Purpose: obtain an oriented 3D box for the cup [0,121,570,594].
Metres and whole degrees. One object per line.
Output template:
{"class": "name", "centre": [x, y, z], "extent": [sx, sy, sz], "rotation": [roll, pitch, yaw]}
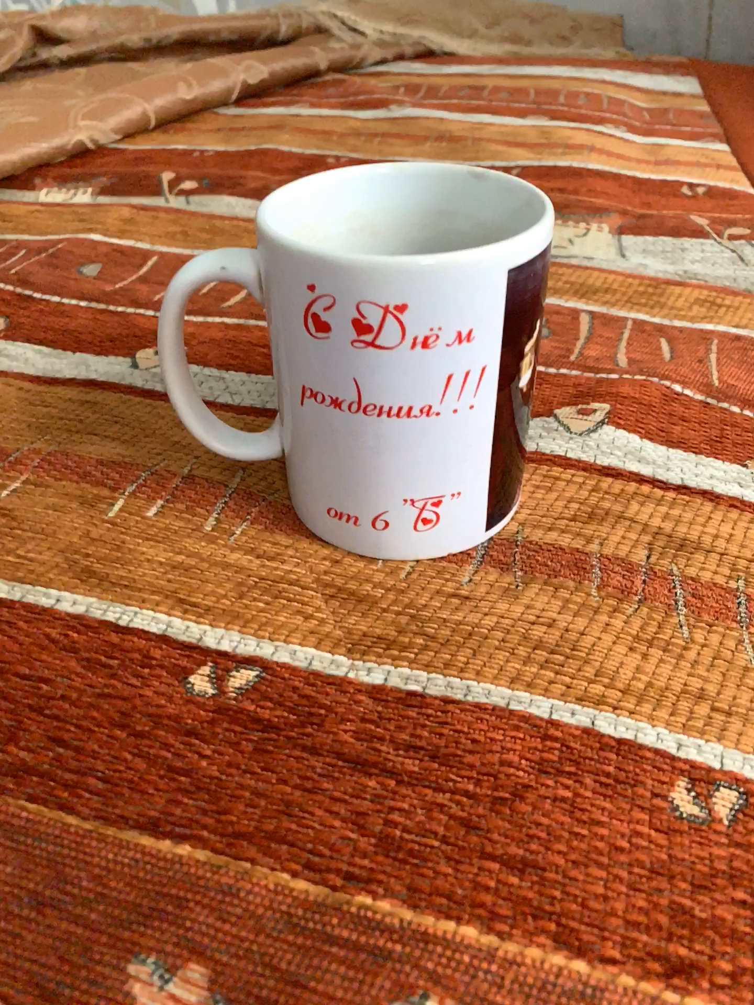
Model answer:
{"class": "cup", "centre": [-0.019, -0.039, 0.198], "extent": [0.110, 0.089, 0.081], "rotation": [1, 37, 3]}
